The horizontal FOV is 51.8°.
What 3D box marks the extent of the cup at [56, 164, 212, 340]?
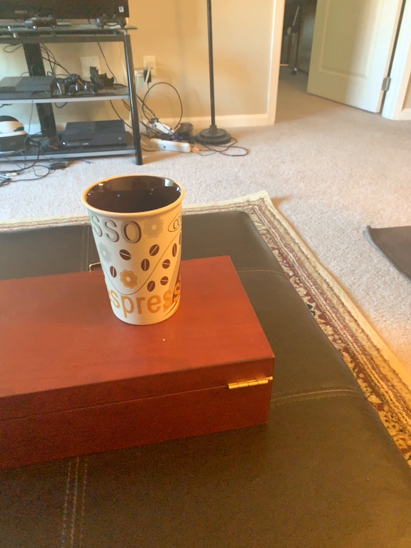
[{"bbox_3d":[-0.057,-0.024,0.379,0.090,0.109,0.090,-1,33,1],"label":"cup"}]
